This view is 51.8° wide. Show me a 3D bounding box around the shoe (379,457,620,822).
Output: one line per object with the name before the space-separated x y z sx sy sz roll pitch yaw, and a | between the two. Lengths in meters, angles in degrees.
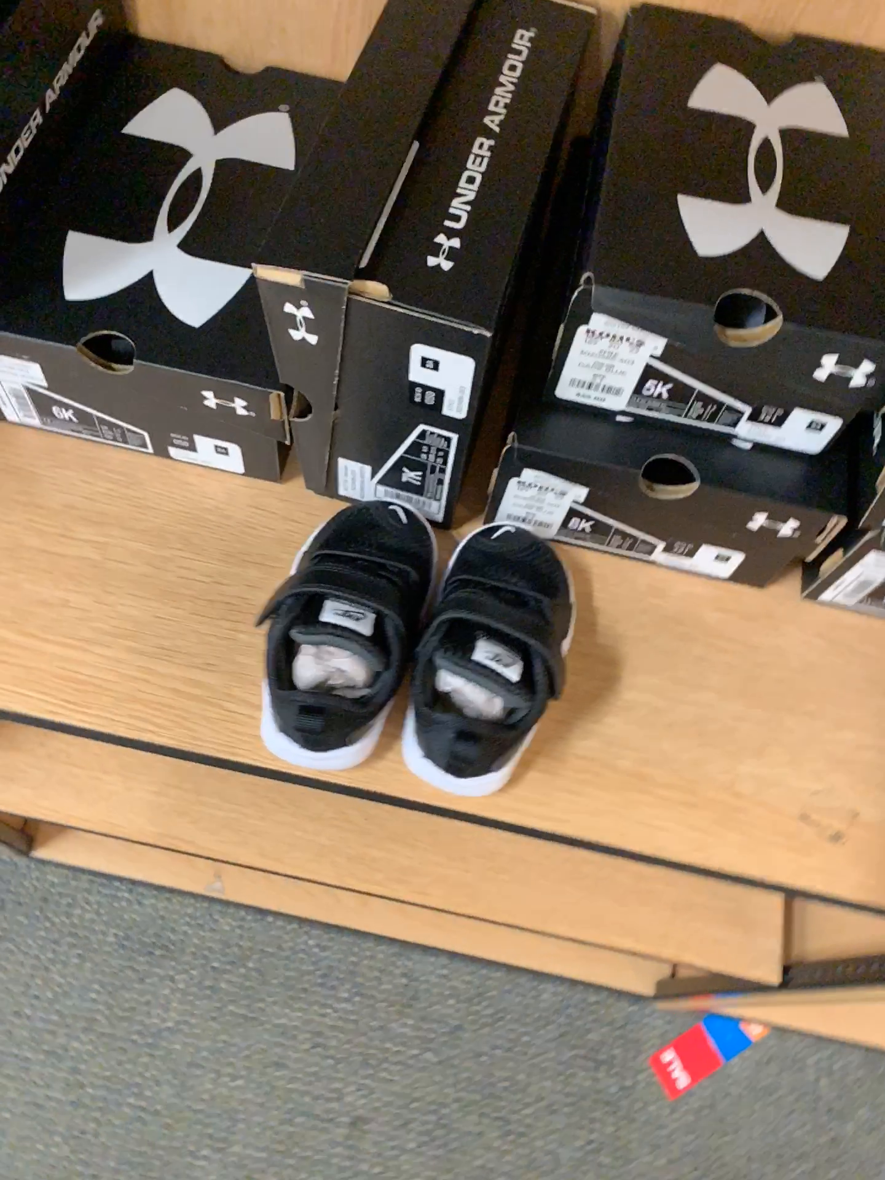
shoe | 0.026 0.022 0.414 0.070 0.060 0.140 16 64 1

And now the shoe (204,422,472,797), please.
shoe | -0.042 0.008 0.403 0.070 0.060 0.140 16 64 1
